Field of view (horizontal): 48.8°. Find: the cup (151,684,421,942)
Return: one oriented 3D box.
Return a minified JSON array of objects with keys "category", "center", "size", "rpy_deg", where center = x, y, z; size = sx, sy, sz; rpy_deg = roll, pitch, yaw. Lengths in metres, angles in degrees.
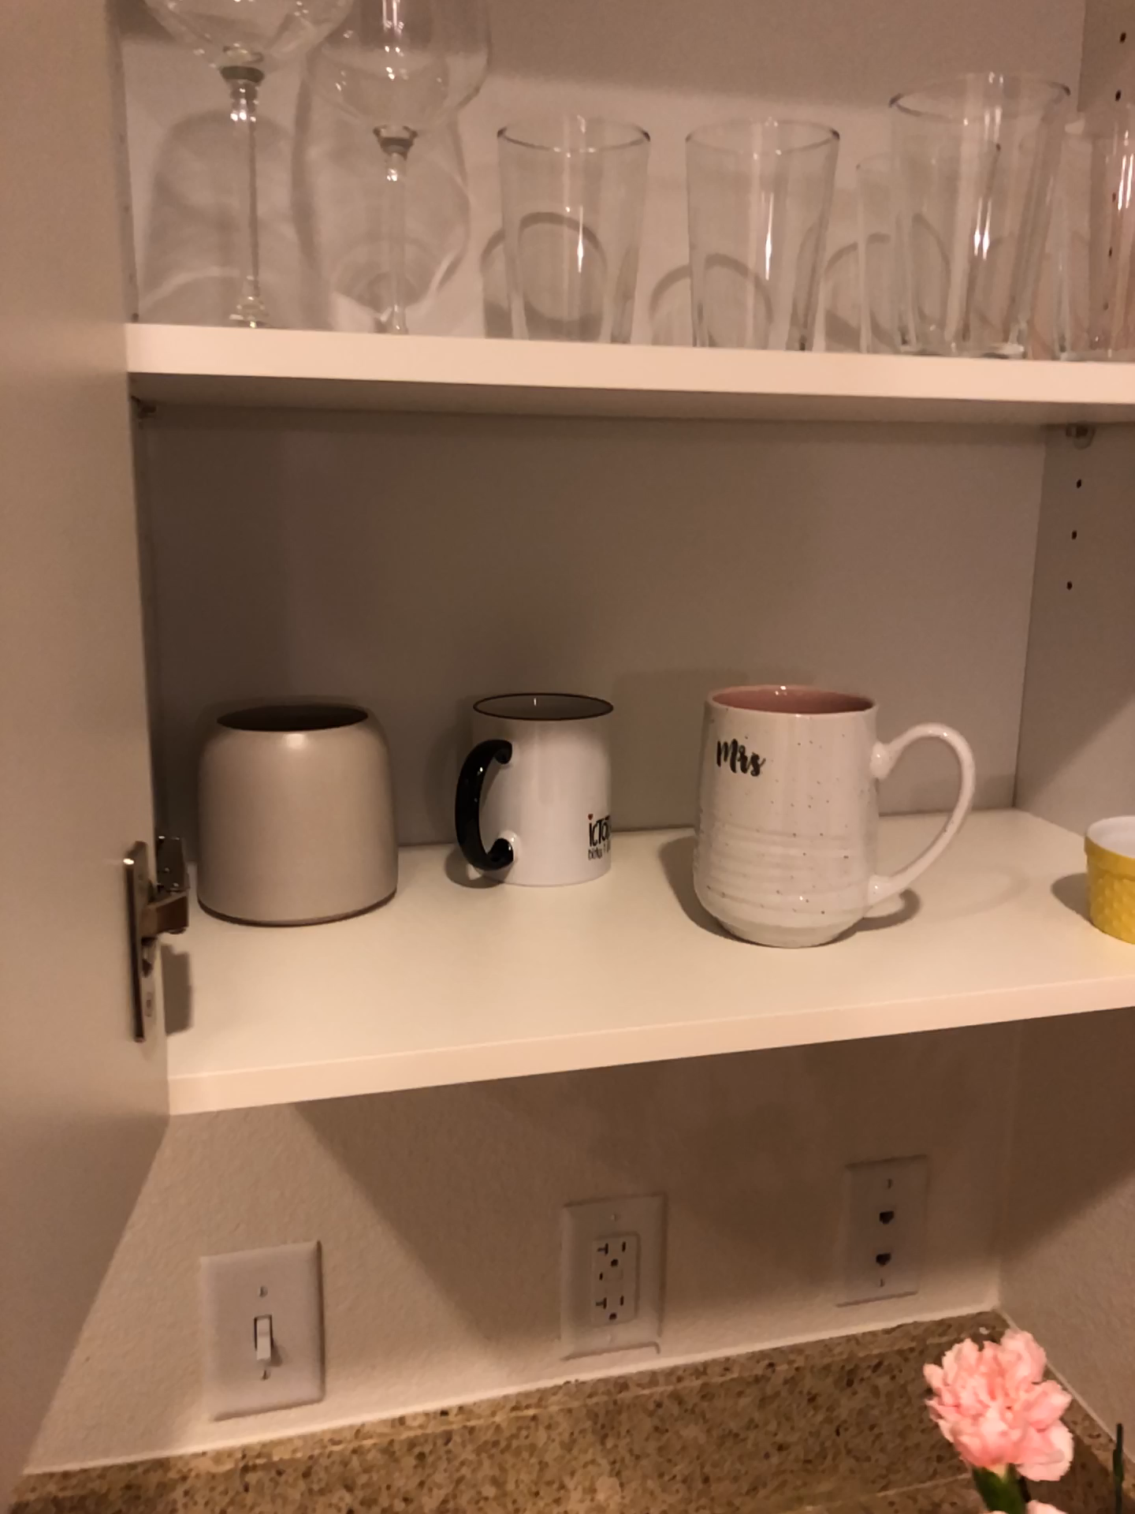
[{"category":"cup","center":[-0.150,0.021,0.650],"size":[0.110,0.090,0.150],"rpy_deg":[-4,14,-22]}]

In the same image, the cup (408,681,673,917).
[{"category":"cup","center":[-0.012,0.016,0.653],"size":[0.090,0.090,0.110],"rpy_deg":[9,15,32]}]

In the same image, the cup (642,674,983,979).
[{"category":"cup","center":[0.117,0.026,0.592],"size":[0.140,0.110,0.090],"rpy_deg":[5,13,20]}]
